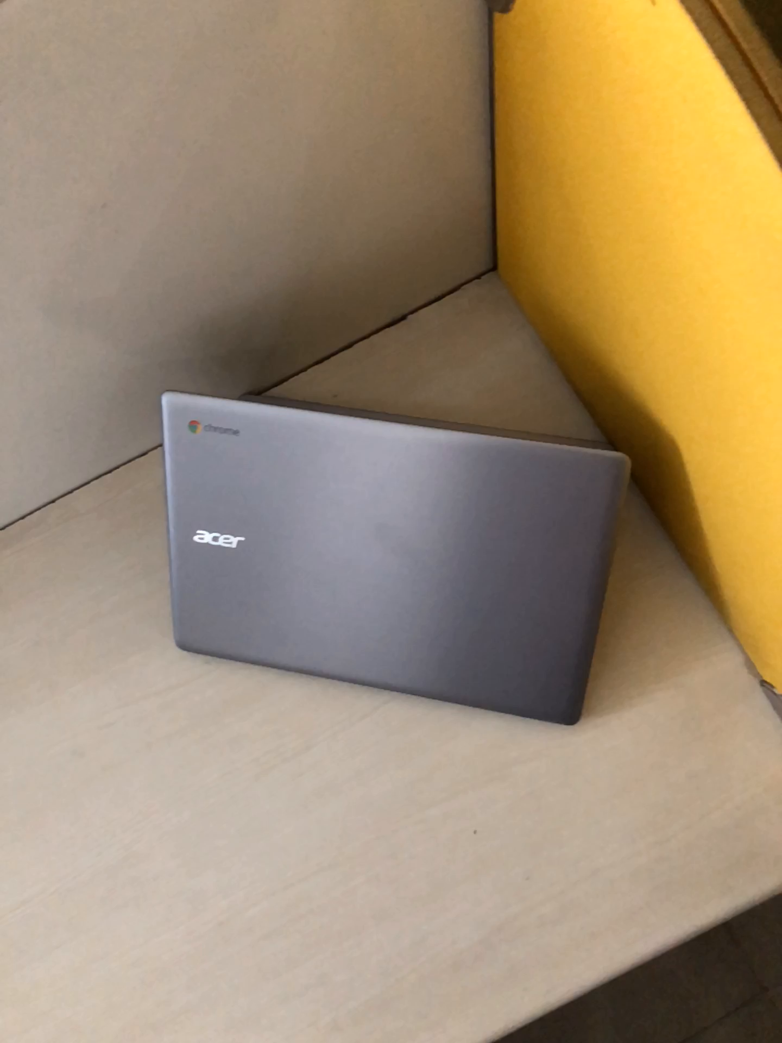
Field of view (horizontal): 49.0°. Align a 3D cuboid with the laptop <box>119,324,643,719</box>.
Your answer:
[{"bbox_3d":[0.001,0.004,0.639,0.315,0.135,0.221,9,78,9],"label":"laptop"}]
